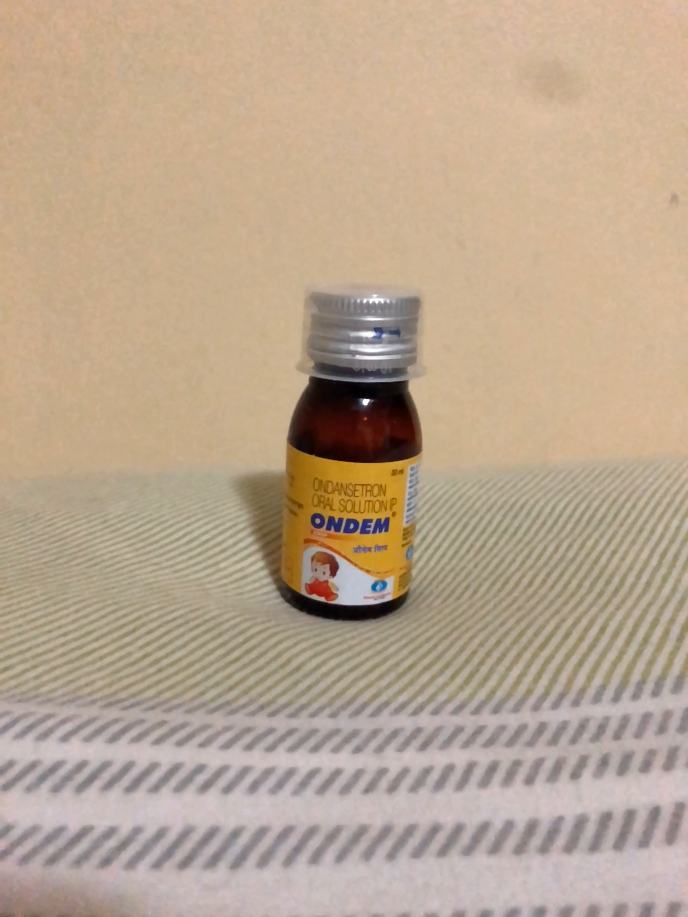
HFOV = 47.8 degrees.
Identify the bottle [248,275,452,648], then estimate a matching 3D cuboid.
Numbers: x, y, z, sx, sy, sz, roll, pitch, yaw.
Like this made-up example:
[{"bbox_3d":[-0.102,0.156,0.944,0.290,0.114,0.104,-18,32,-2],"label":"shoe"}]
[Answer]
[{"bbox_3d":[0.002,-0.002,0.191,0.040,0.080,0.040,3,17,-1],"label":"bottle"}]
